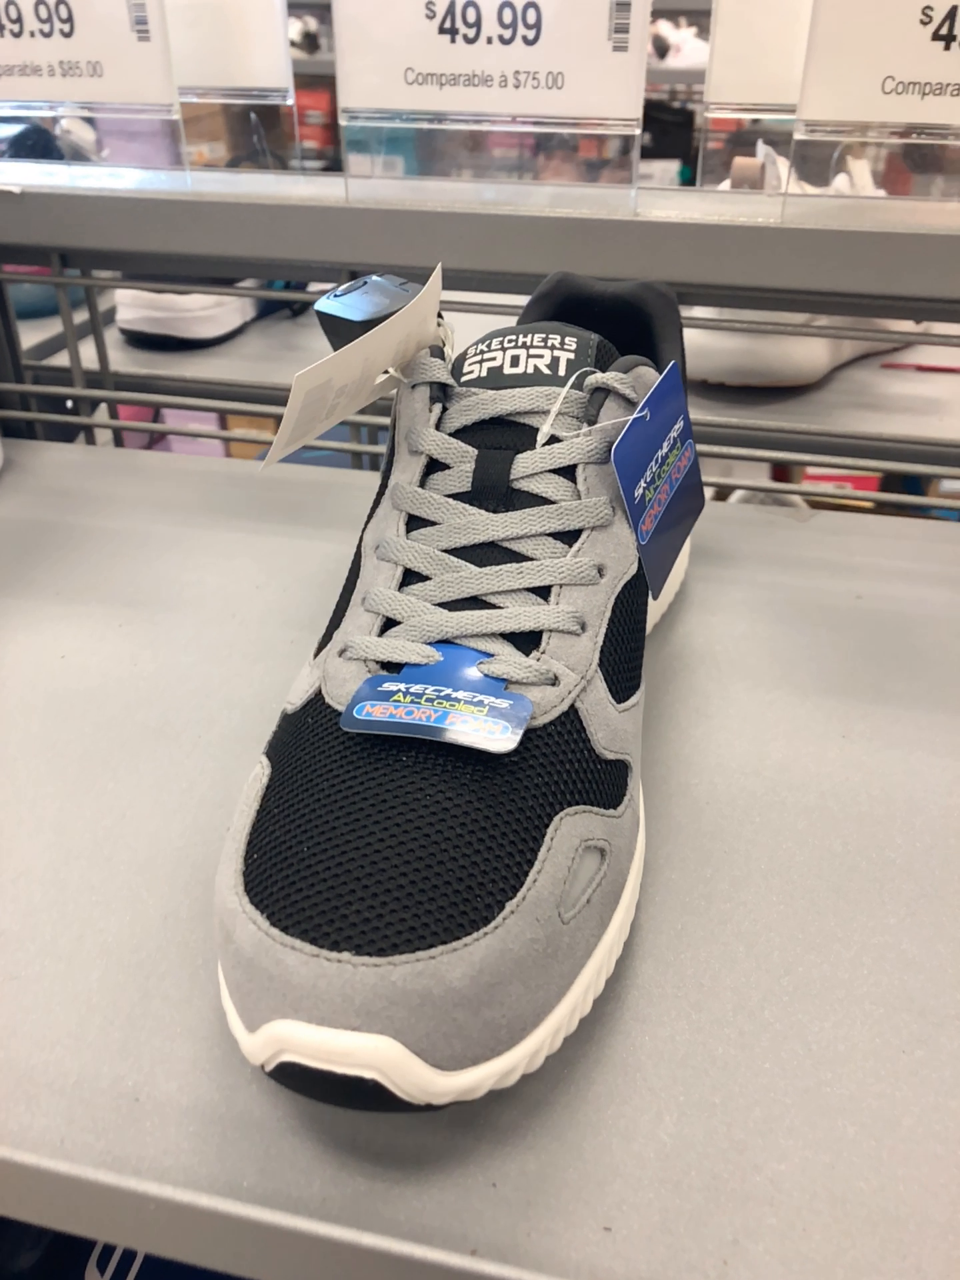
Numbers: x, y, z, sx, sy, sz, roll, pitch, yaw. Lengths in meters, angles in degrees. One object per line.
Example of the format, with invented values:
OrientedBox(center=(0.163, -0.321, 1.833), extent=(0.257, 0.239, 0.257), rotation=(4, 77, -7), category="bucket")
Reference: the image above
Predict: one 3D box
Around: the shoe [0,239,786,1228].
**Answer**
OrientedBox(center=(0.010, -0.020, 0.318), extent=(0.120, 0.119, 0.302), rotation=(10, 34, 14), category="shoe")
